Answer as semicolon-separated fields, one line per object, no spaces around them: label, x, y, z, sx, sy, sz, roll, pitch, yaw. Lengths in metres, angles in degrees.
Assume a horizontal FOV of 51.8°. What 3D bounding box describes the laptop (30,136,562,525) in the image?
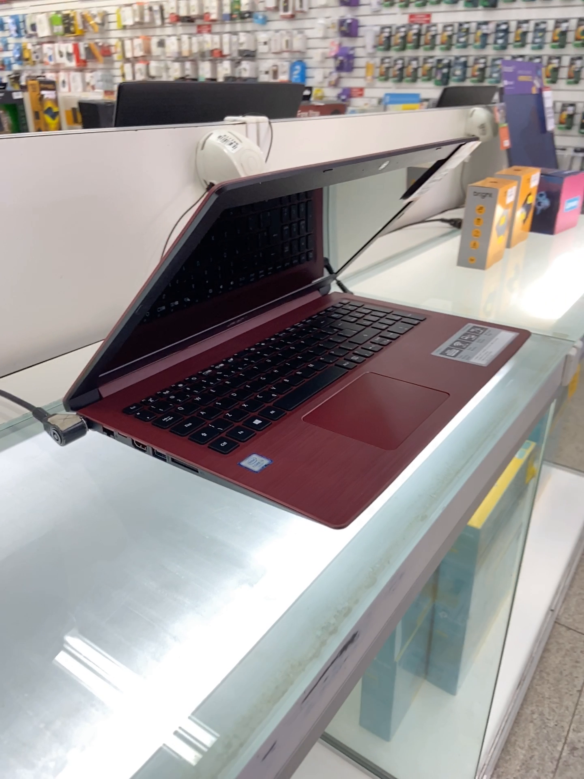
laptop;0.035;-0.100;0.497;0.238;0.179;0.369;17;31;31
